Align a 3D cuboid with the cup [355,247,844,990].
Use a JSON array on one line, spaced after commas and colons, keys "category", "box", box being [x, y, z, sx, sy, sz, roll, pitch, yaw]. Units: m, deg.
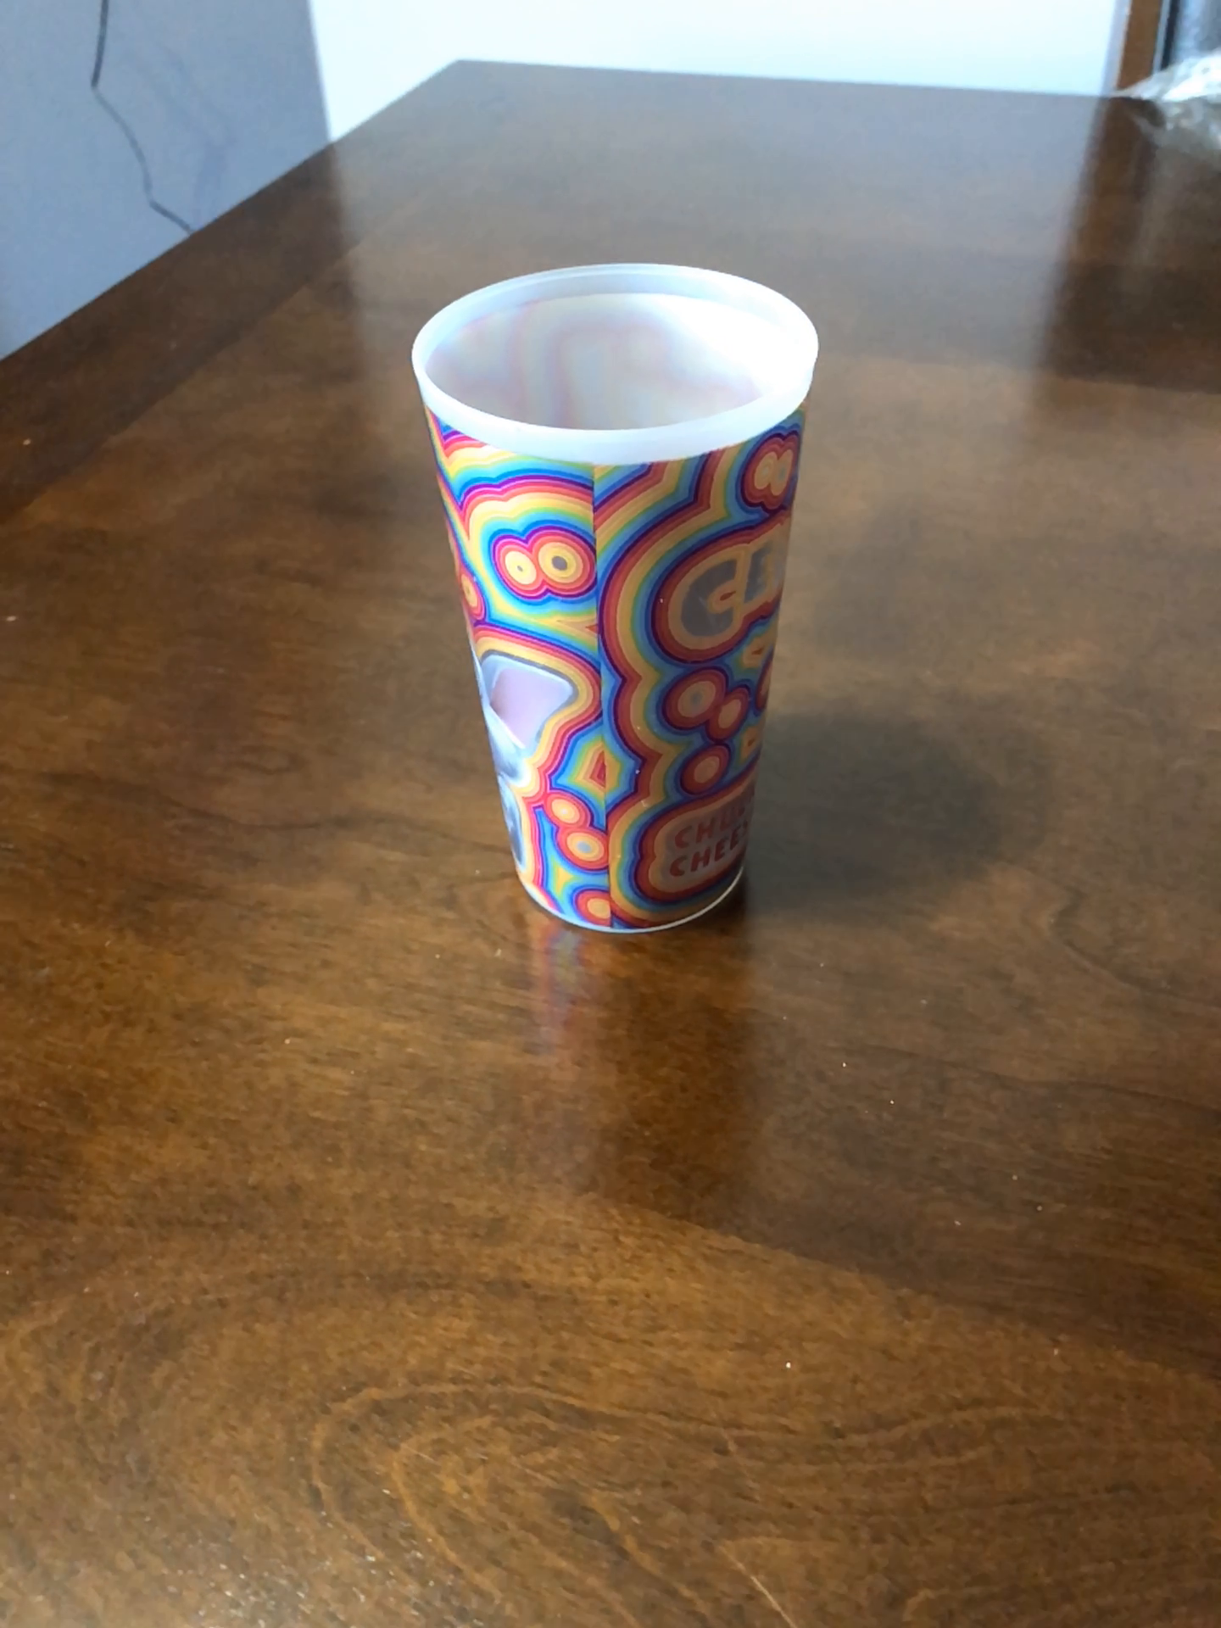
[{"category": "cup", "box": [0.003, -0.039, 0.288, 0.070, 0.129, 0.070, -1, 42, 1]}]
